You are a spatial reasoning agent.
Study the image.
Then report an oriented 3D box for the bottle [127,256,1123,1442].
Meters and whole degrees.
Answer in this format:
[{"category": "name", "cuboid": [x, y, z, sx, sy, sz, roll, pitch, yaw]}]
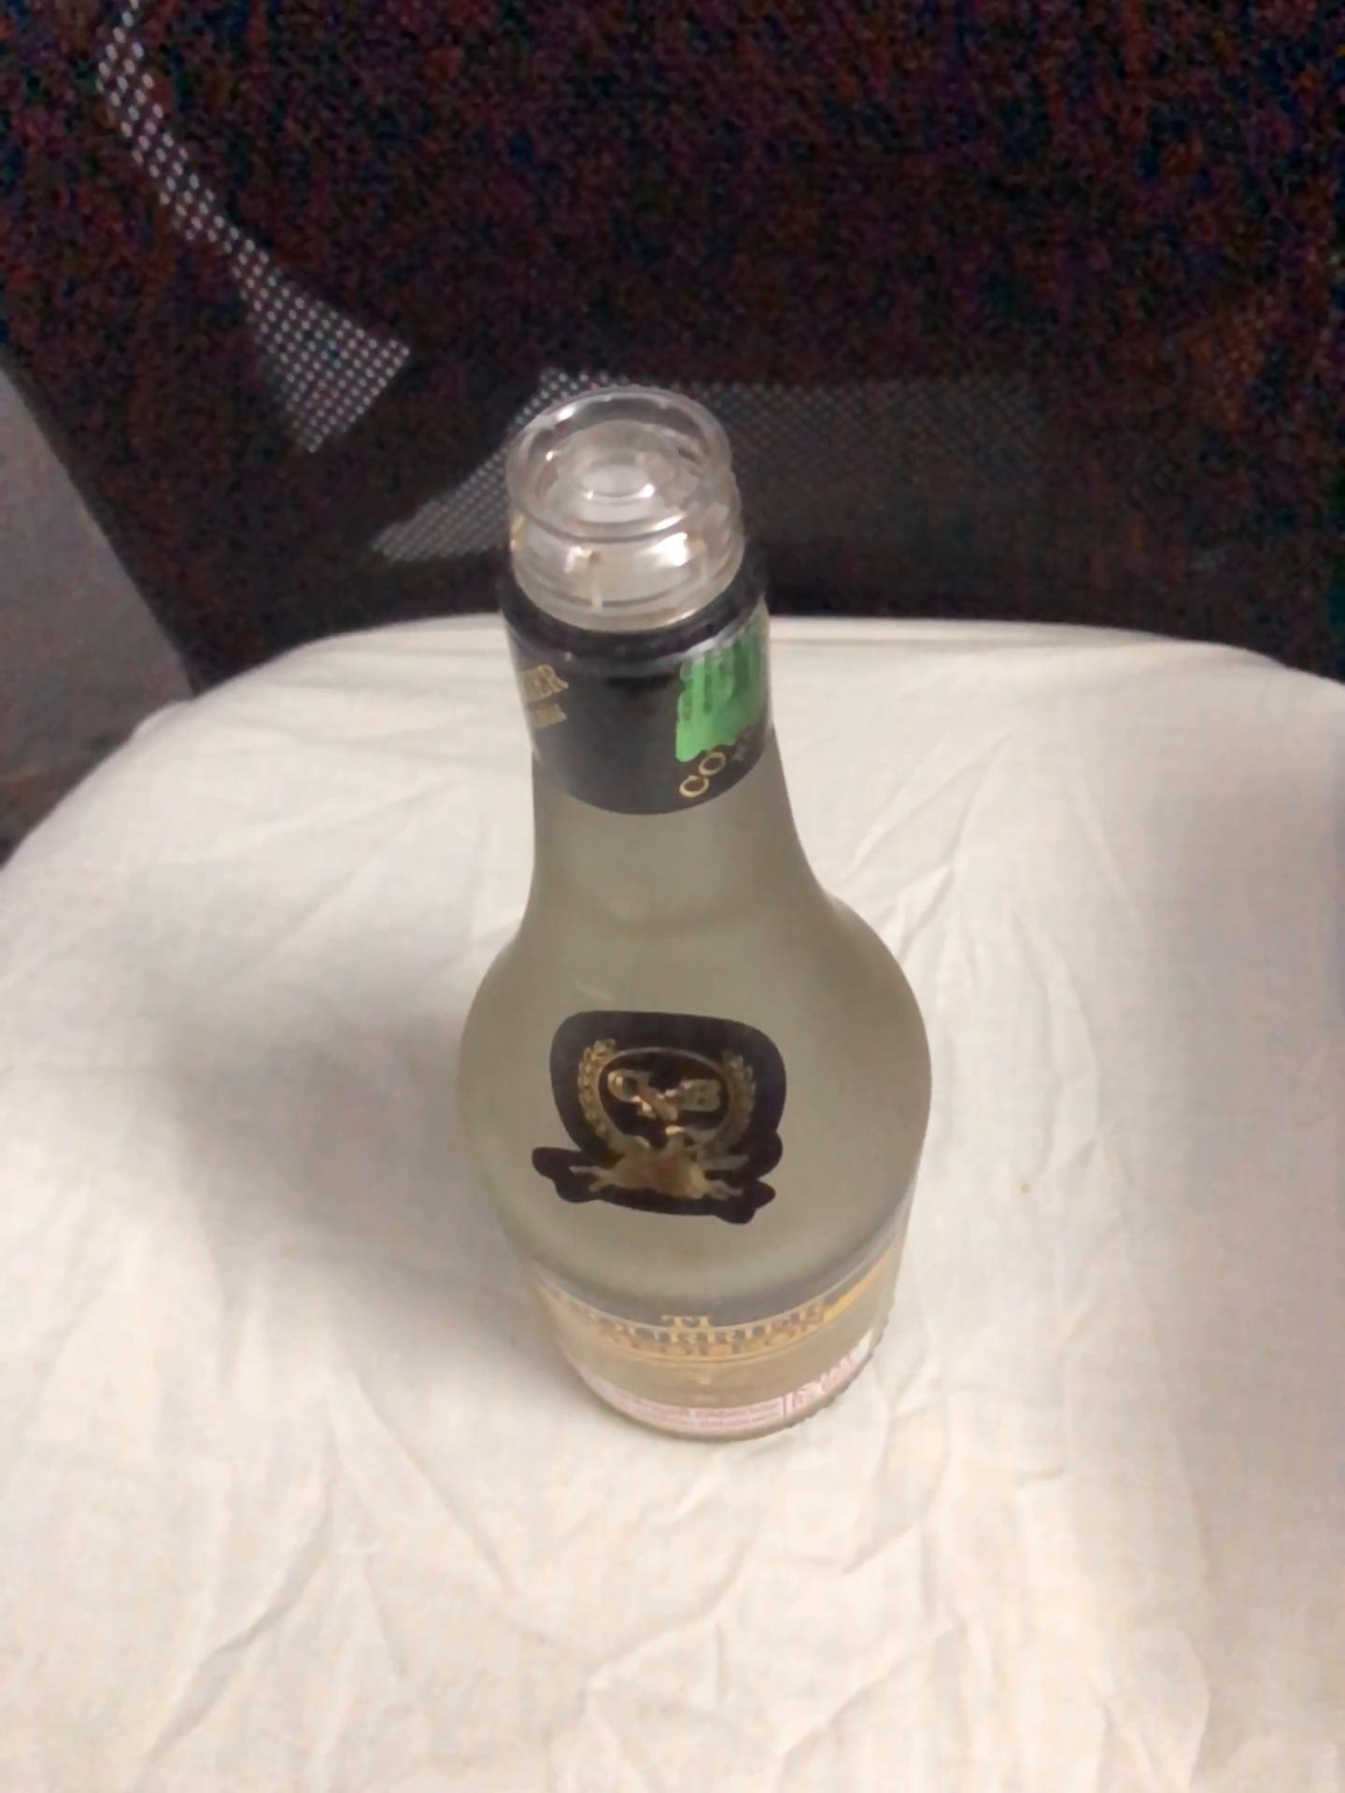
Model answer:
[{"category": "bottle", "cuboid": [0.002, 0.022, 0.257, 0.090, 0.239, 0.080, 2, 57, 4]}]
